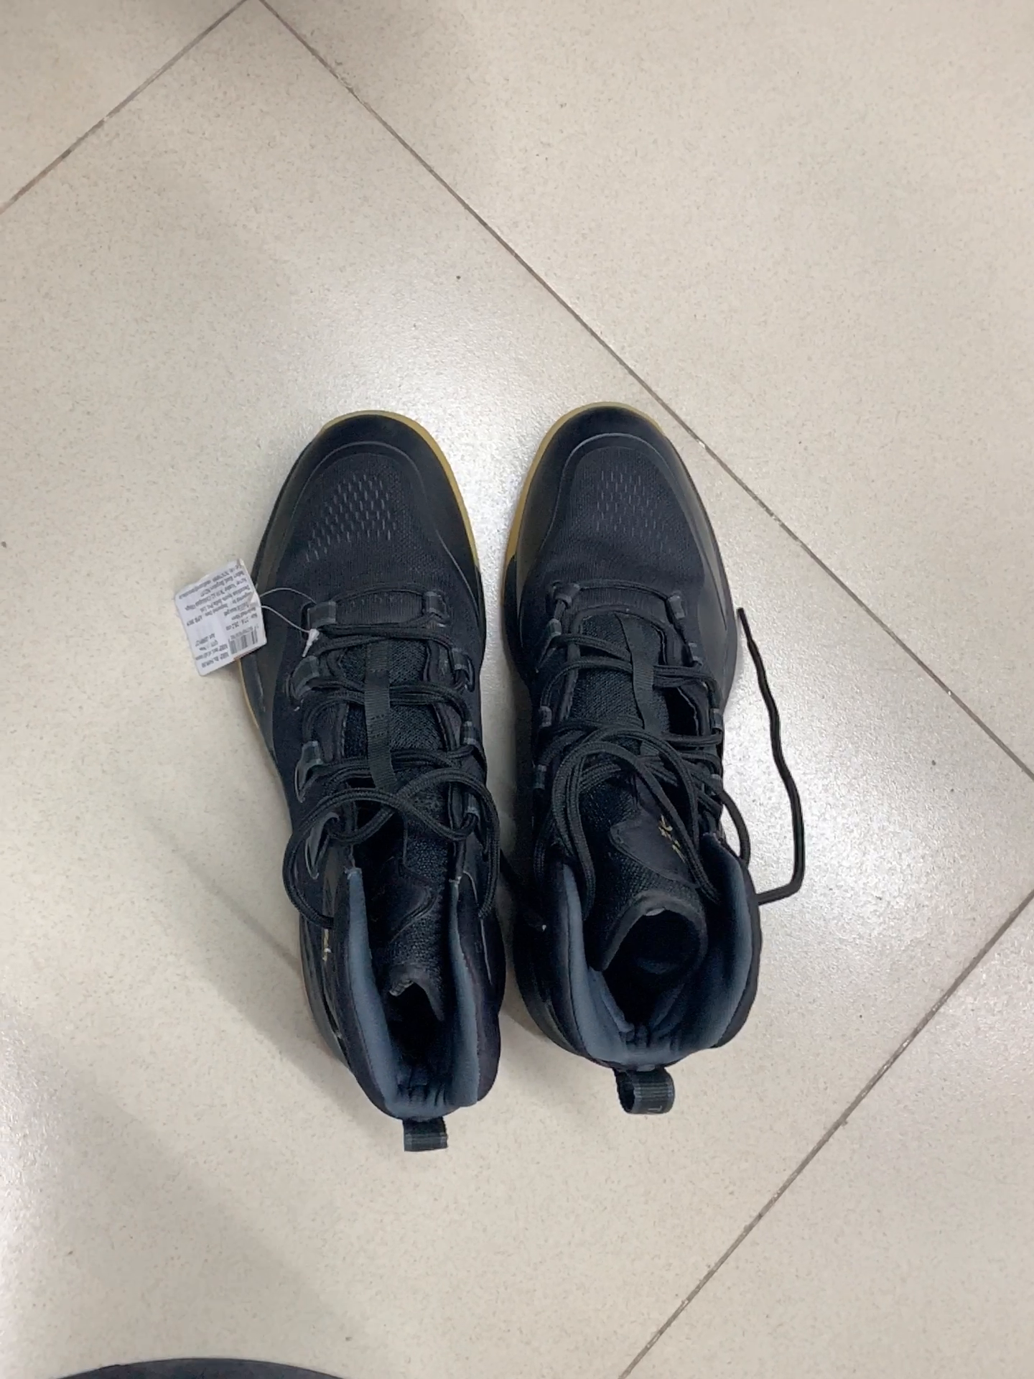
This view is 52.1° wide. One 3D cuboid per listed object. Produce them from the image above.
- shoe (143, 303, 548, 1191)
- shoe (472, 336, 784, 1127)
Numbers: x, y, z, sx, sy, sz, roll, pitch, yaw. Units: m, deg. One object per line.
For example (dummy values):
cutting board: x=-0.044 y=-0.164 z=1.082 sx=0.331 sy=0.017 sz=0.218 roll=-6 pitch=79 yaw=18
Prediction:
shoe: x=-0.065 y=0.018 z=0.427 sx=0.110 sy=0.140 sz=0.290 roll=-5 pitch=87 yaw=-6
shoe: x=0.041 y=0.016 z=0.439 sx=0.110 sy=0.090 sz=0.290 roll=1 pitch=87 yaw=-6
